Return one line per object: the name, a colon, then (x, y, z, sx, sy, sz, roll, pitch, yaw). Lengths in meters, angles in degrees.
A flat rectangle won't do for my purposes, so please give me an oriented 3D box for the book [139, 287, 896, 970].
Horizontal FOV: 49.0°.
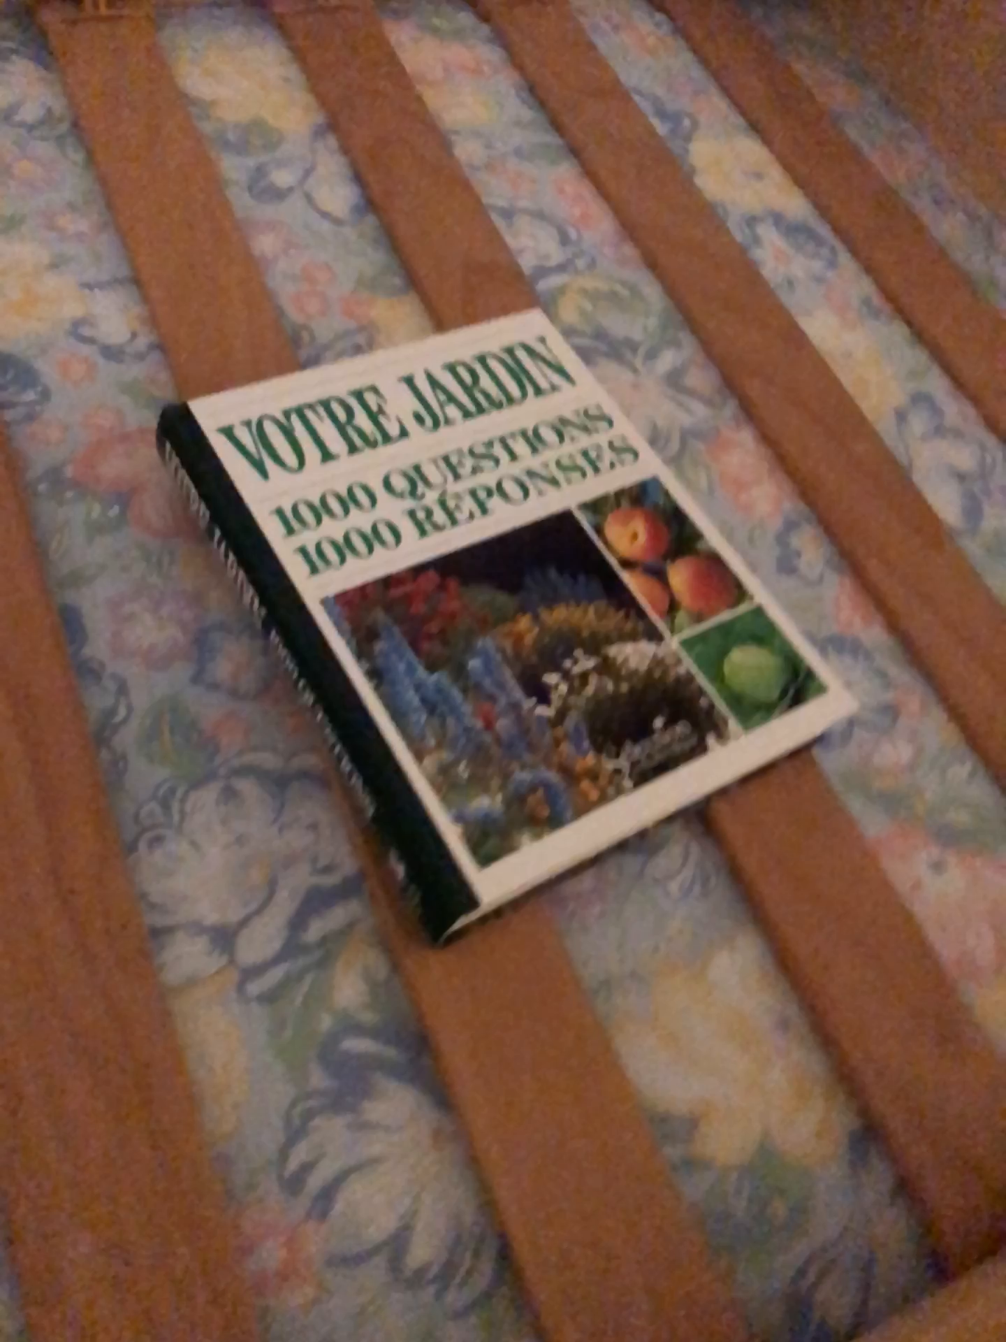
book: (-0.001, -0.044, 0.493, 0.221, 0.050, 0.270, -23, 64, -24)
